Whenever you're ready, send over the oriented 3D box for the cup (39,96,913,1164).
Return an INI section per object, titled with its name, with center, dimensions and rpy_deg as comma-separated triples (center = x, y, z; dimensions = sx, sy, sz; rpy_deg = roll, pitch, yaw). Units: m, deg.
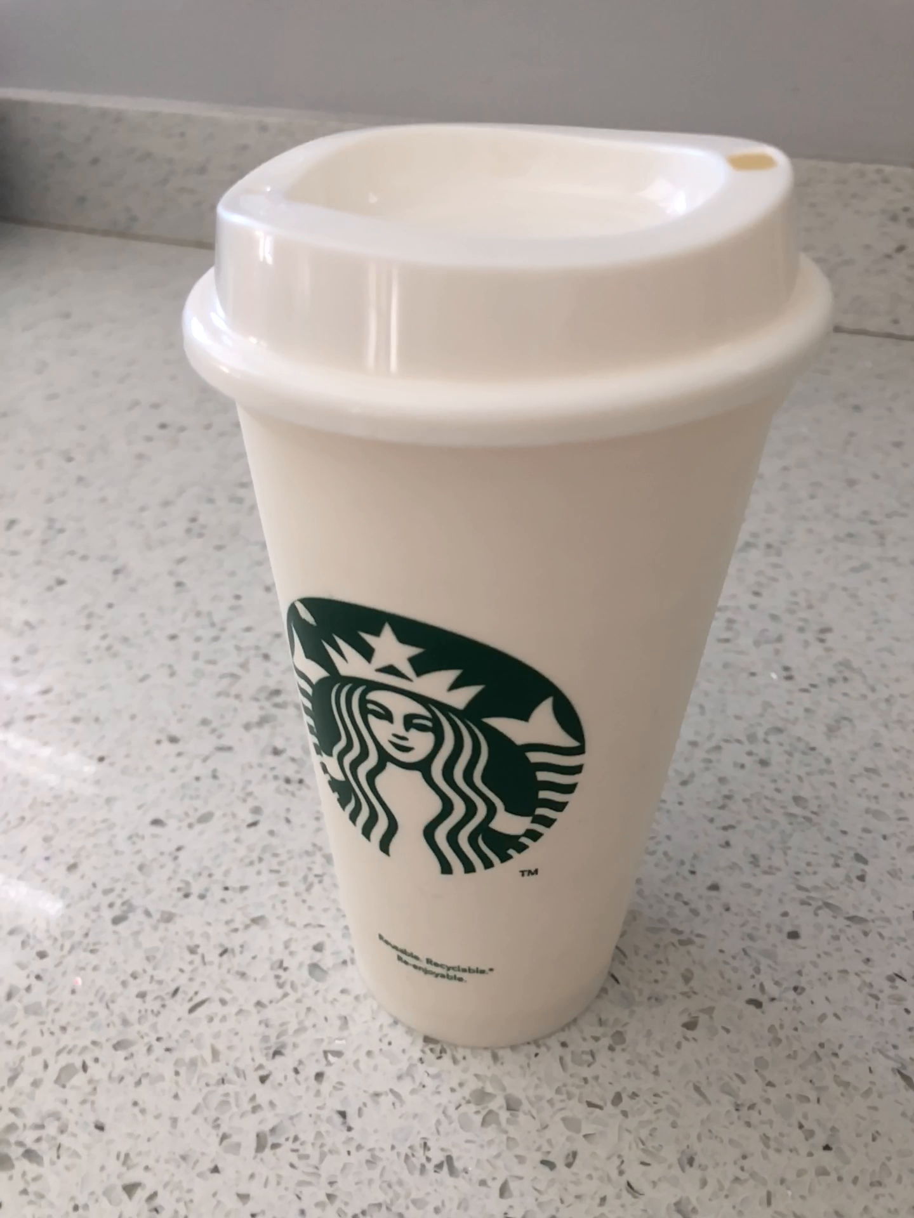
[cup]
center = 0.011, -0.002, 0.178
dimensions = 0.090, 0.139, 0.090
rpy_deg = 0, 34, 0
